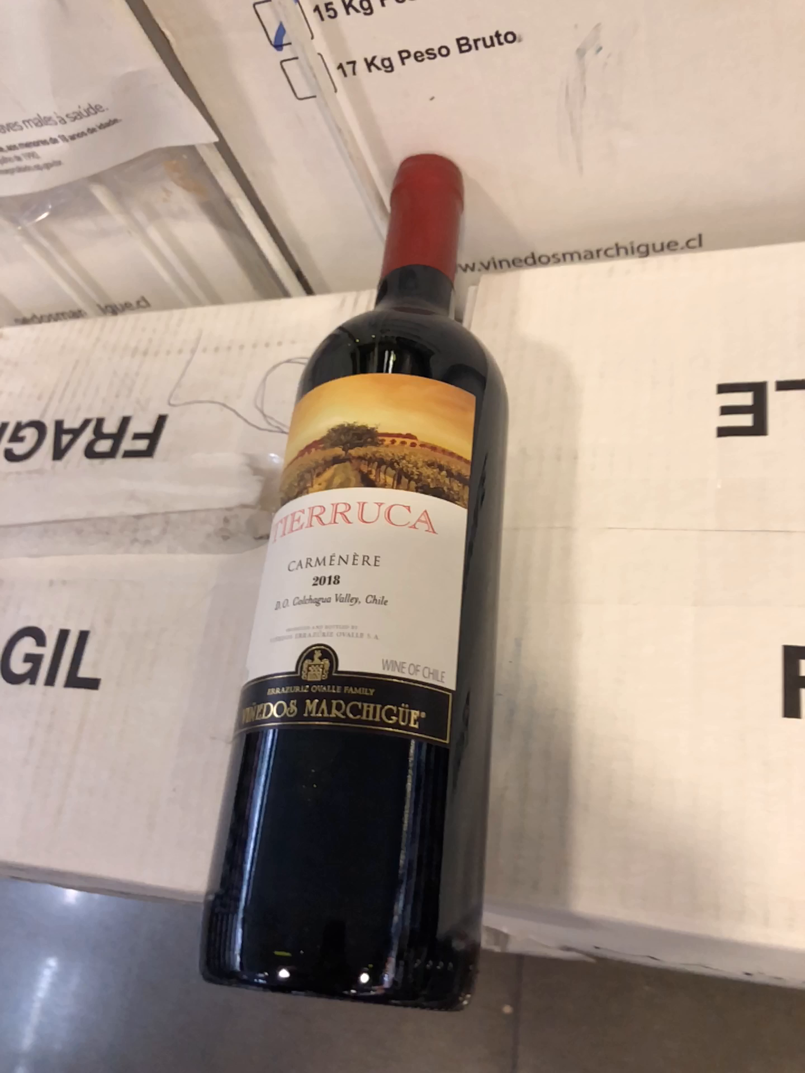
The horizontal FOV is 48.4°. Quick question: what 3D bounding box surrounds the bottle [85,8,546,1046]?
[{"bbox_3d":[-0.006,-0.023,0.295,0.080,0.080,0.321,-3,63,19],"label":"bottle"}]
